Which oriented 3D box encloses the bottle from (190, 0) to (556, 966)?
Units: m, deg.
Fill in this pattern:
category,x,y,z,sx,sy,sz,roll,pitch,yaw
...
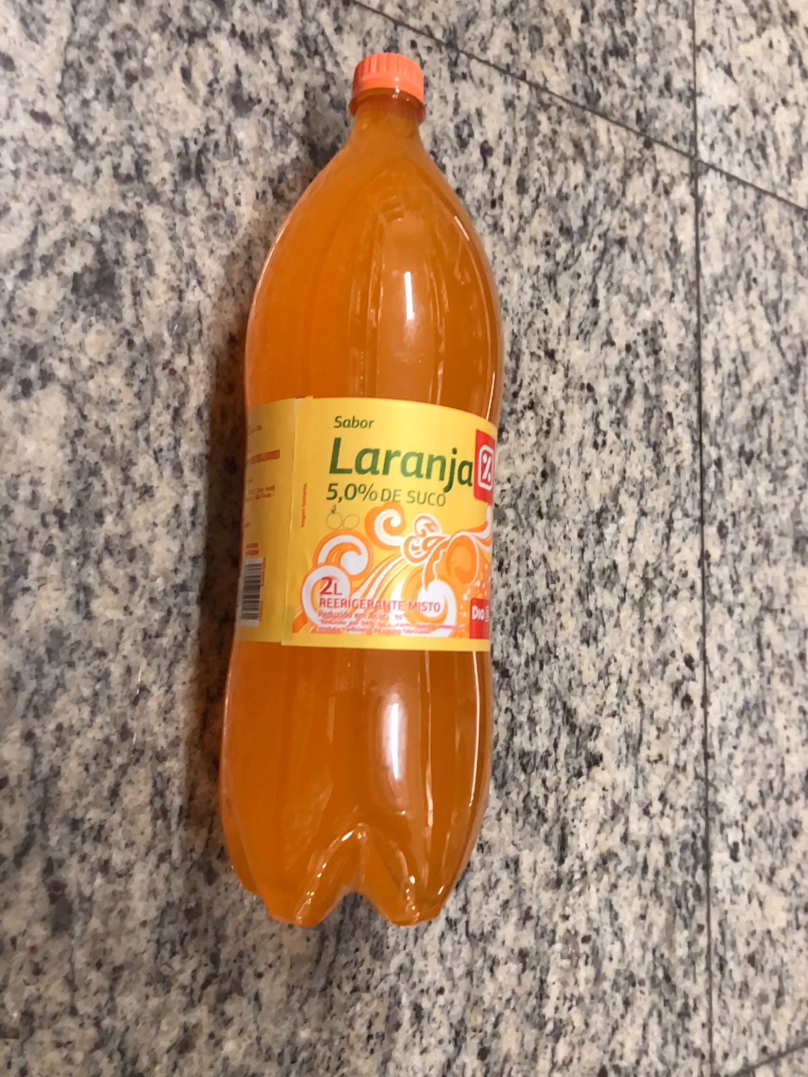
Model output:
category,x,y,z,sx,sy,sz,roll,pitch,yaw
bottle,-0.010,-0.034,0.360,0.121,0.070,0.350,5,82,-34
